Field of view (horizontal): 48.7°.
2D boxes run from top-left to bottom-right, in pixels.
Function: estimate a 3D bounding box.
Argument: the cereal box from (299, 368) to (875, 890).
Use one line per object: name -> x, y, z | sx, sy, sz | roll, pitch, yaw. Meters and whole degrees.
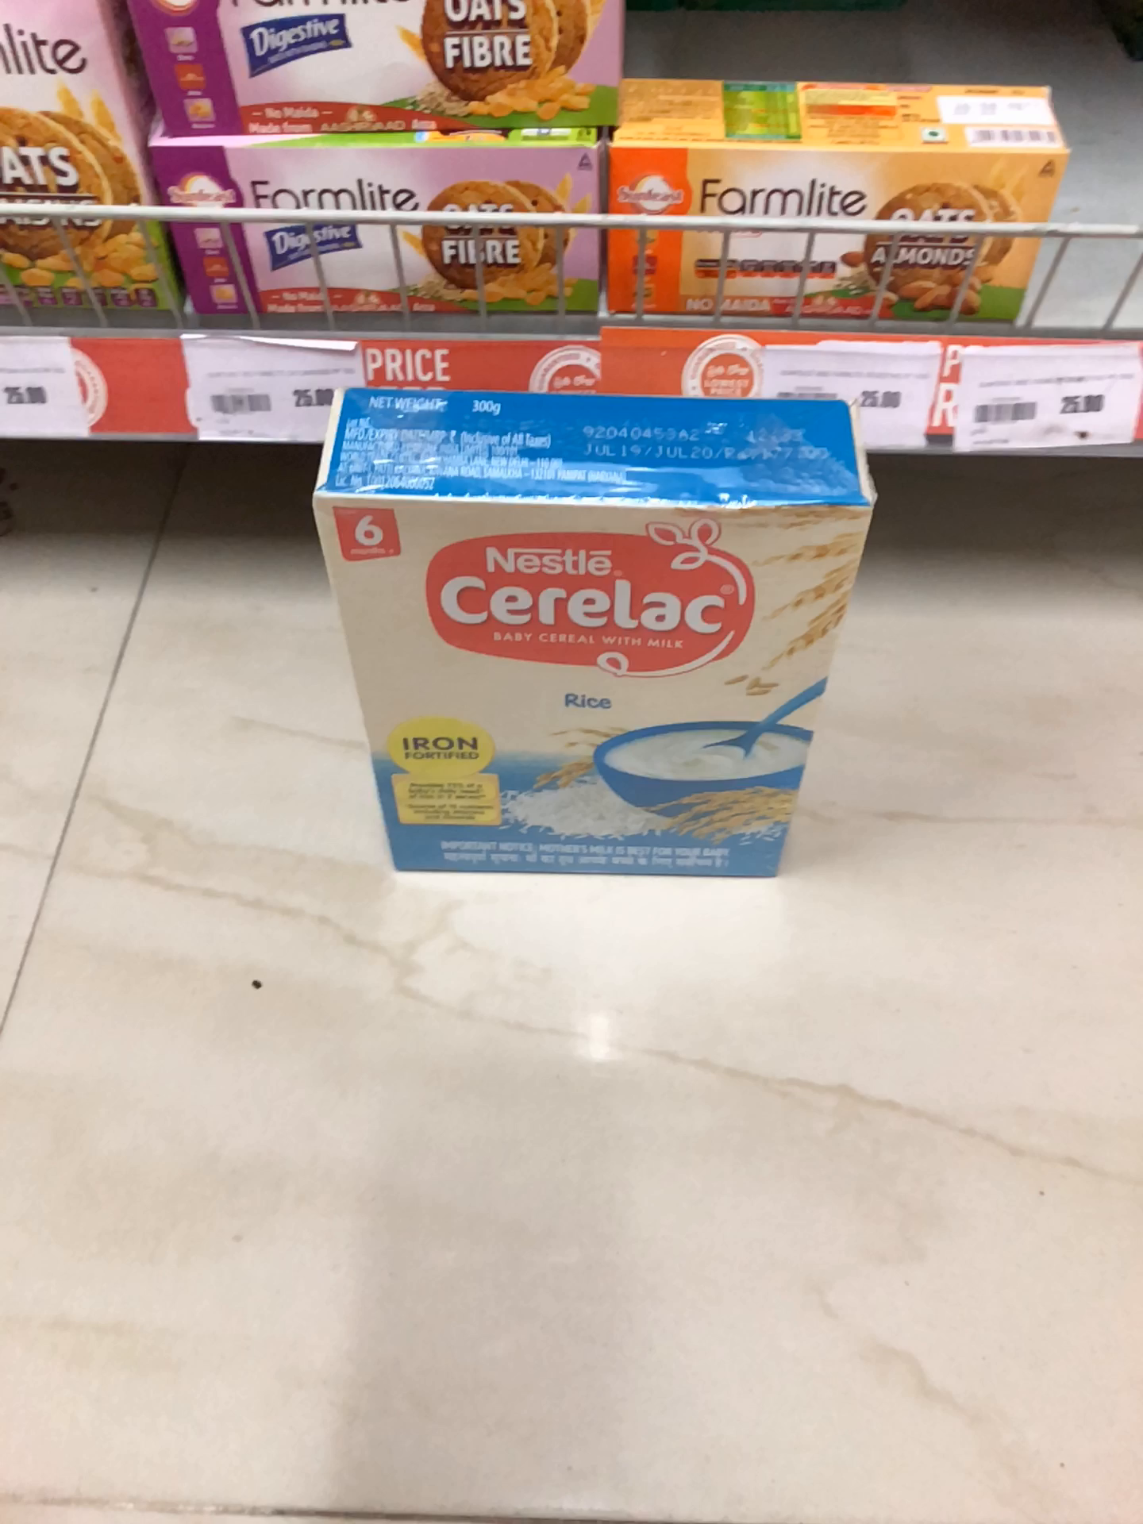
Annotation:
cereal box -> 0.005, -0.033, 0.423 | 0.150, 0.189, 0.060 | 1, 53, 1
